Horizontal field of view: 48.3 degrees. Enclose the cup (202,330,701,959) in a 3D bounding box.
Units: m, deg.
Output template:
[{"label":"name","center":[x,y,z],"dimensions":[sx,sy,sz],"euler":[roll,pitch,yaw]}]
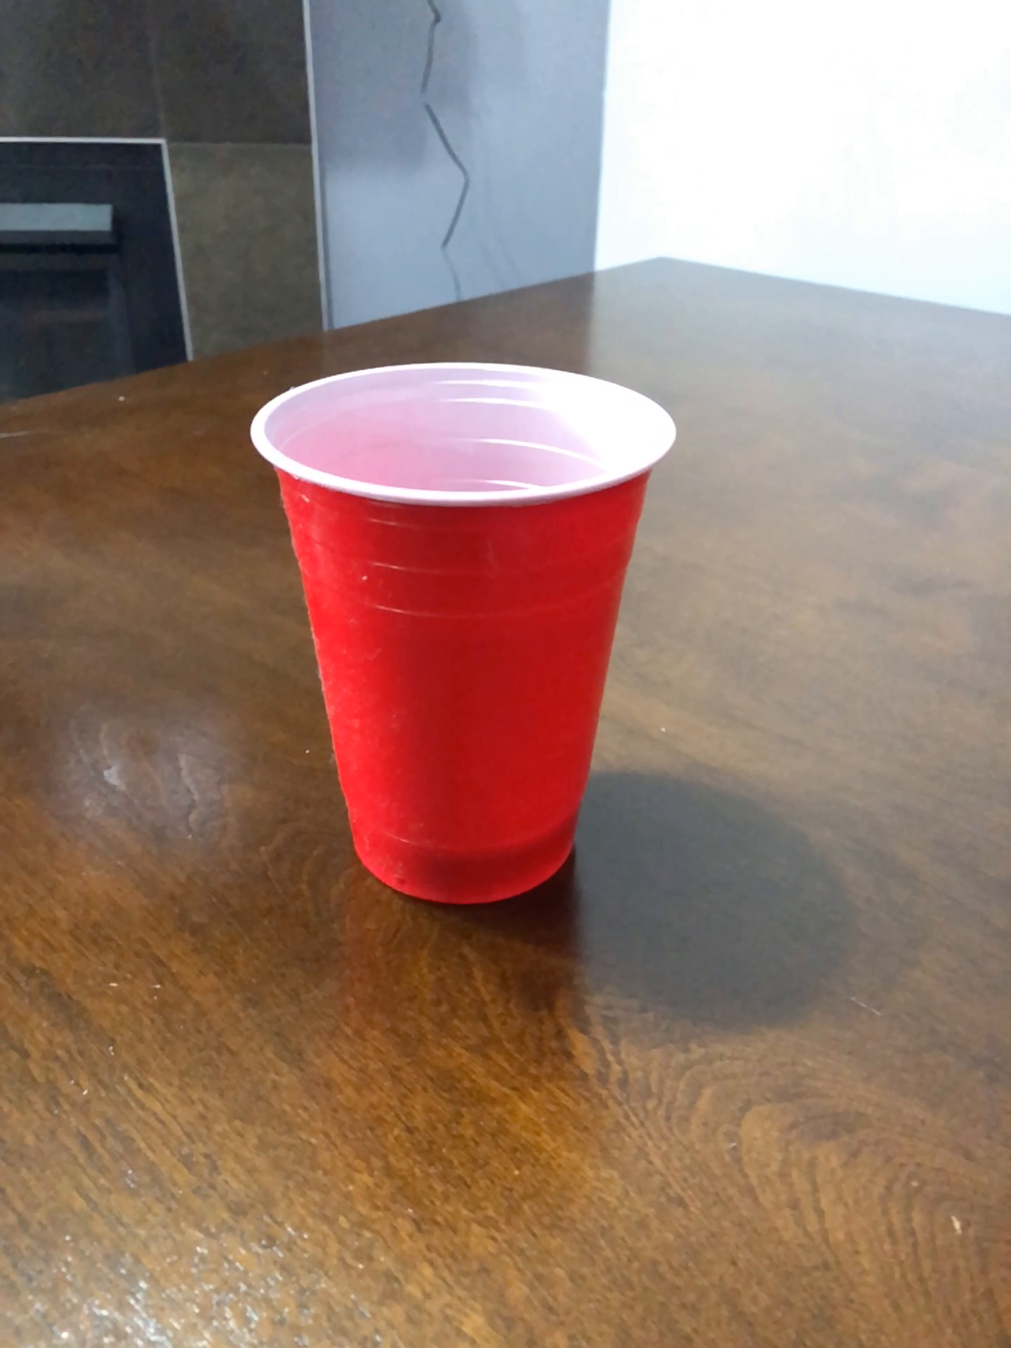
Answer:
[{"label":"cup","center":[-0.009,-0.011,0.270],"dimensions":[0.090,0.120,0.090],"euler":[1,28,-1]}]
